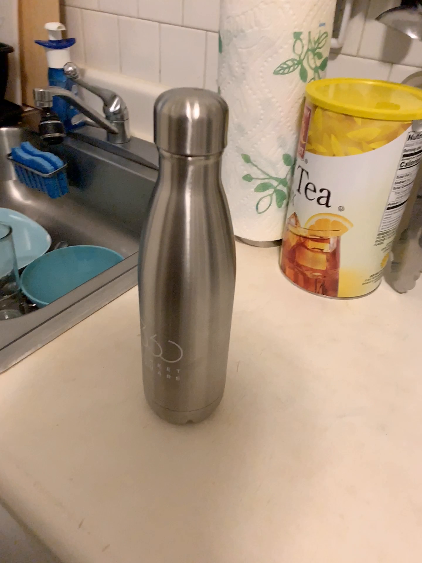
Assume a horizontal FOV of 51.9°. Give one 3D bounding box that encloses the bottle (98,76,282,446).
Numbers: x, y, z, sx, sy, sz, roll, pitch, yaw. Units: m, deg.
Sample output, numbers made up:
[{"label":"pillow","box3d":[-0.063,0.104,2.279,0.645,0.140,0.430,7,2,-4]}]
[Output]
[{"label":"bottle","box3d":[-0.018,0.000,0.308,0.070,0.249,0.070,3,37,-2]}]
